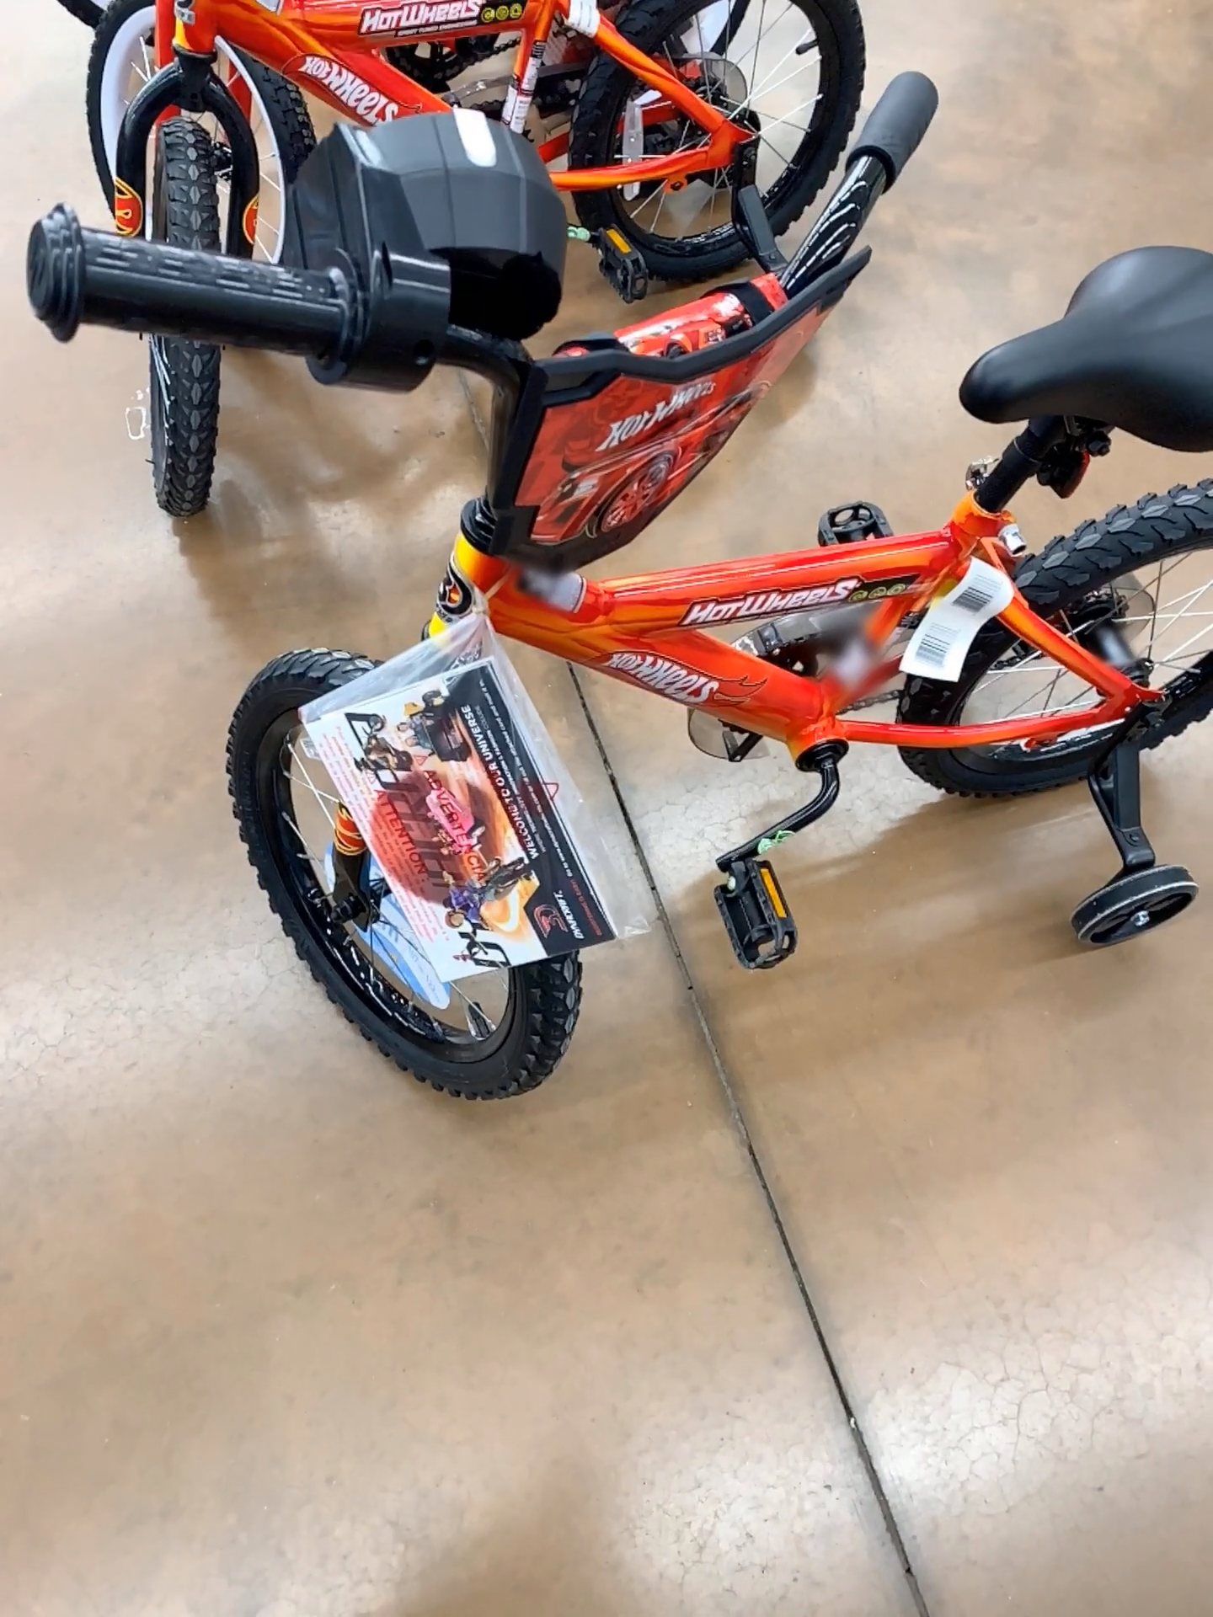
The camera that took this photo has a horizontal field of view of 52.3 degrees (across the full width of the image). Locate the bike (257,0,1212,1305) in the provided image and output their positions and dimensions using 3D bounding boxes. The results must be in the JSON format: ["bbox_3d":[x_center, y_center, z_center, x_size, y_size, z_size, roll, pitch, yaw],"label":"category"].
[{"bbox_3d":[0.228,-0.133,0.956,0.740,0.825,0.511,-27,63,-8],"label":"bike"}]
